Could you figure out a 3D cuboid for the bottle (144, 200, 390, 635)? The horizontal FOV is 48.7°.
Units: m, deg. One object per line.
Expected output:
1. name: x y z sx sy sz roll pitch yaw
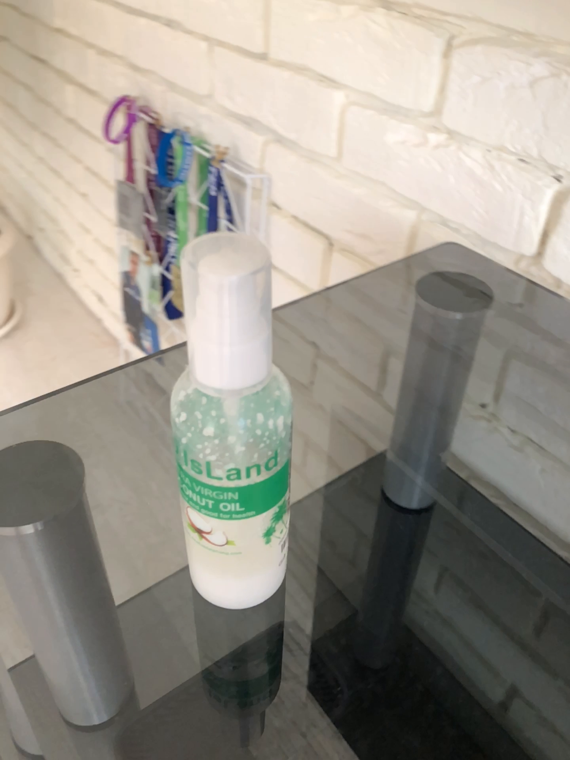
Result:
1. bottle: -0.009 0.018 0.216 0.050 0.139 0.050 2 38 -1
